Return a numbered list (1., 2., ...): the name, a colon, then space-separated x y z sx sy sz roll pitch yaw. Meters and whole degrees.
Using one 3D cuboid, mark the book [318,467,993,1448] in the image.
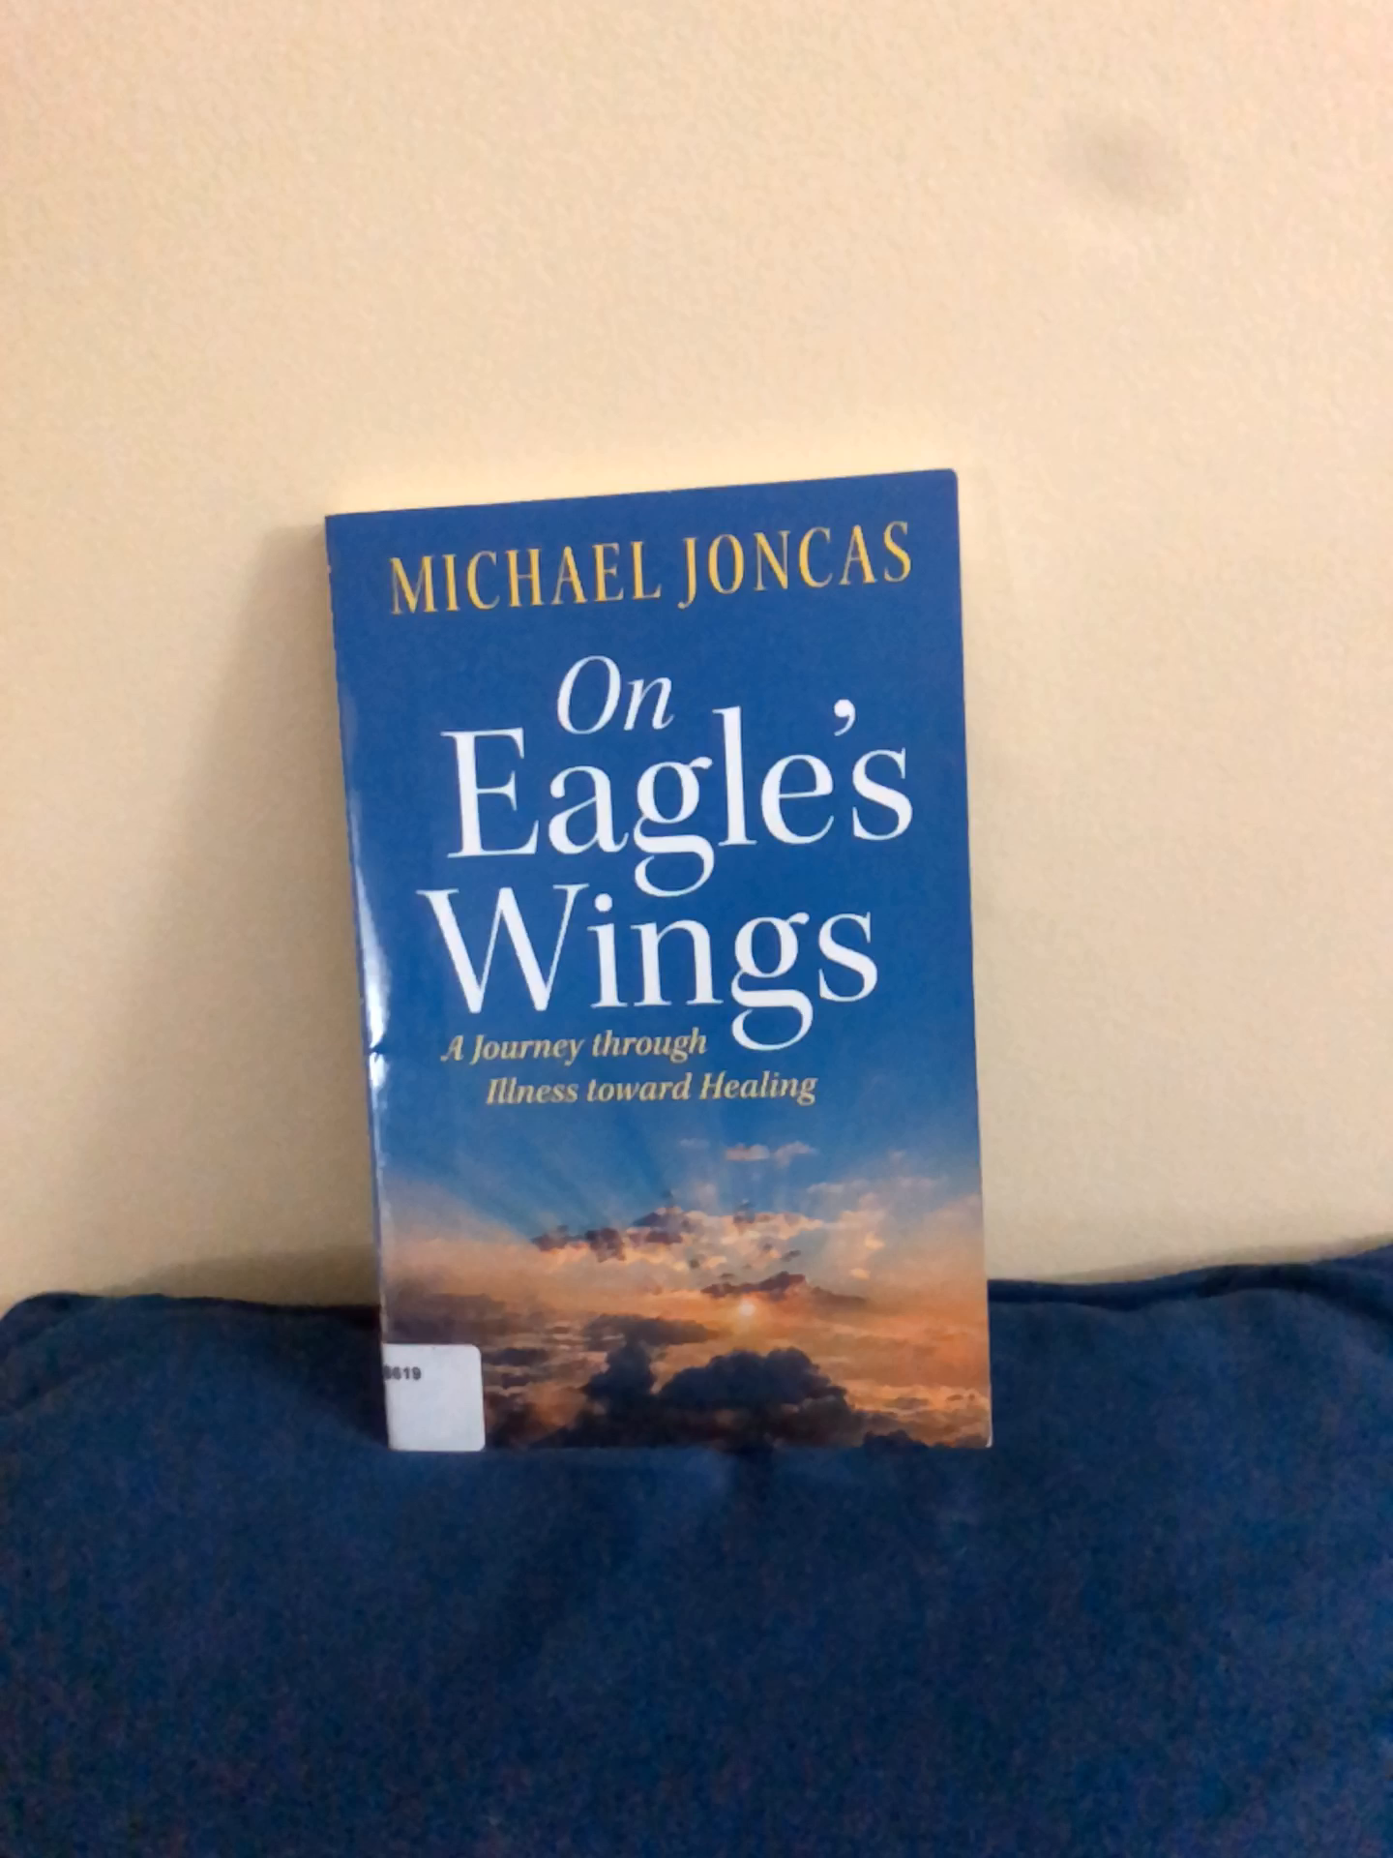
1. book: -0.008 0.010 0.346 0.139 0.210 0.014 -2 4 6
